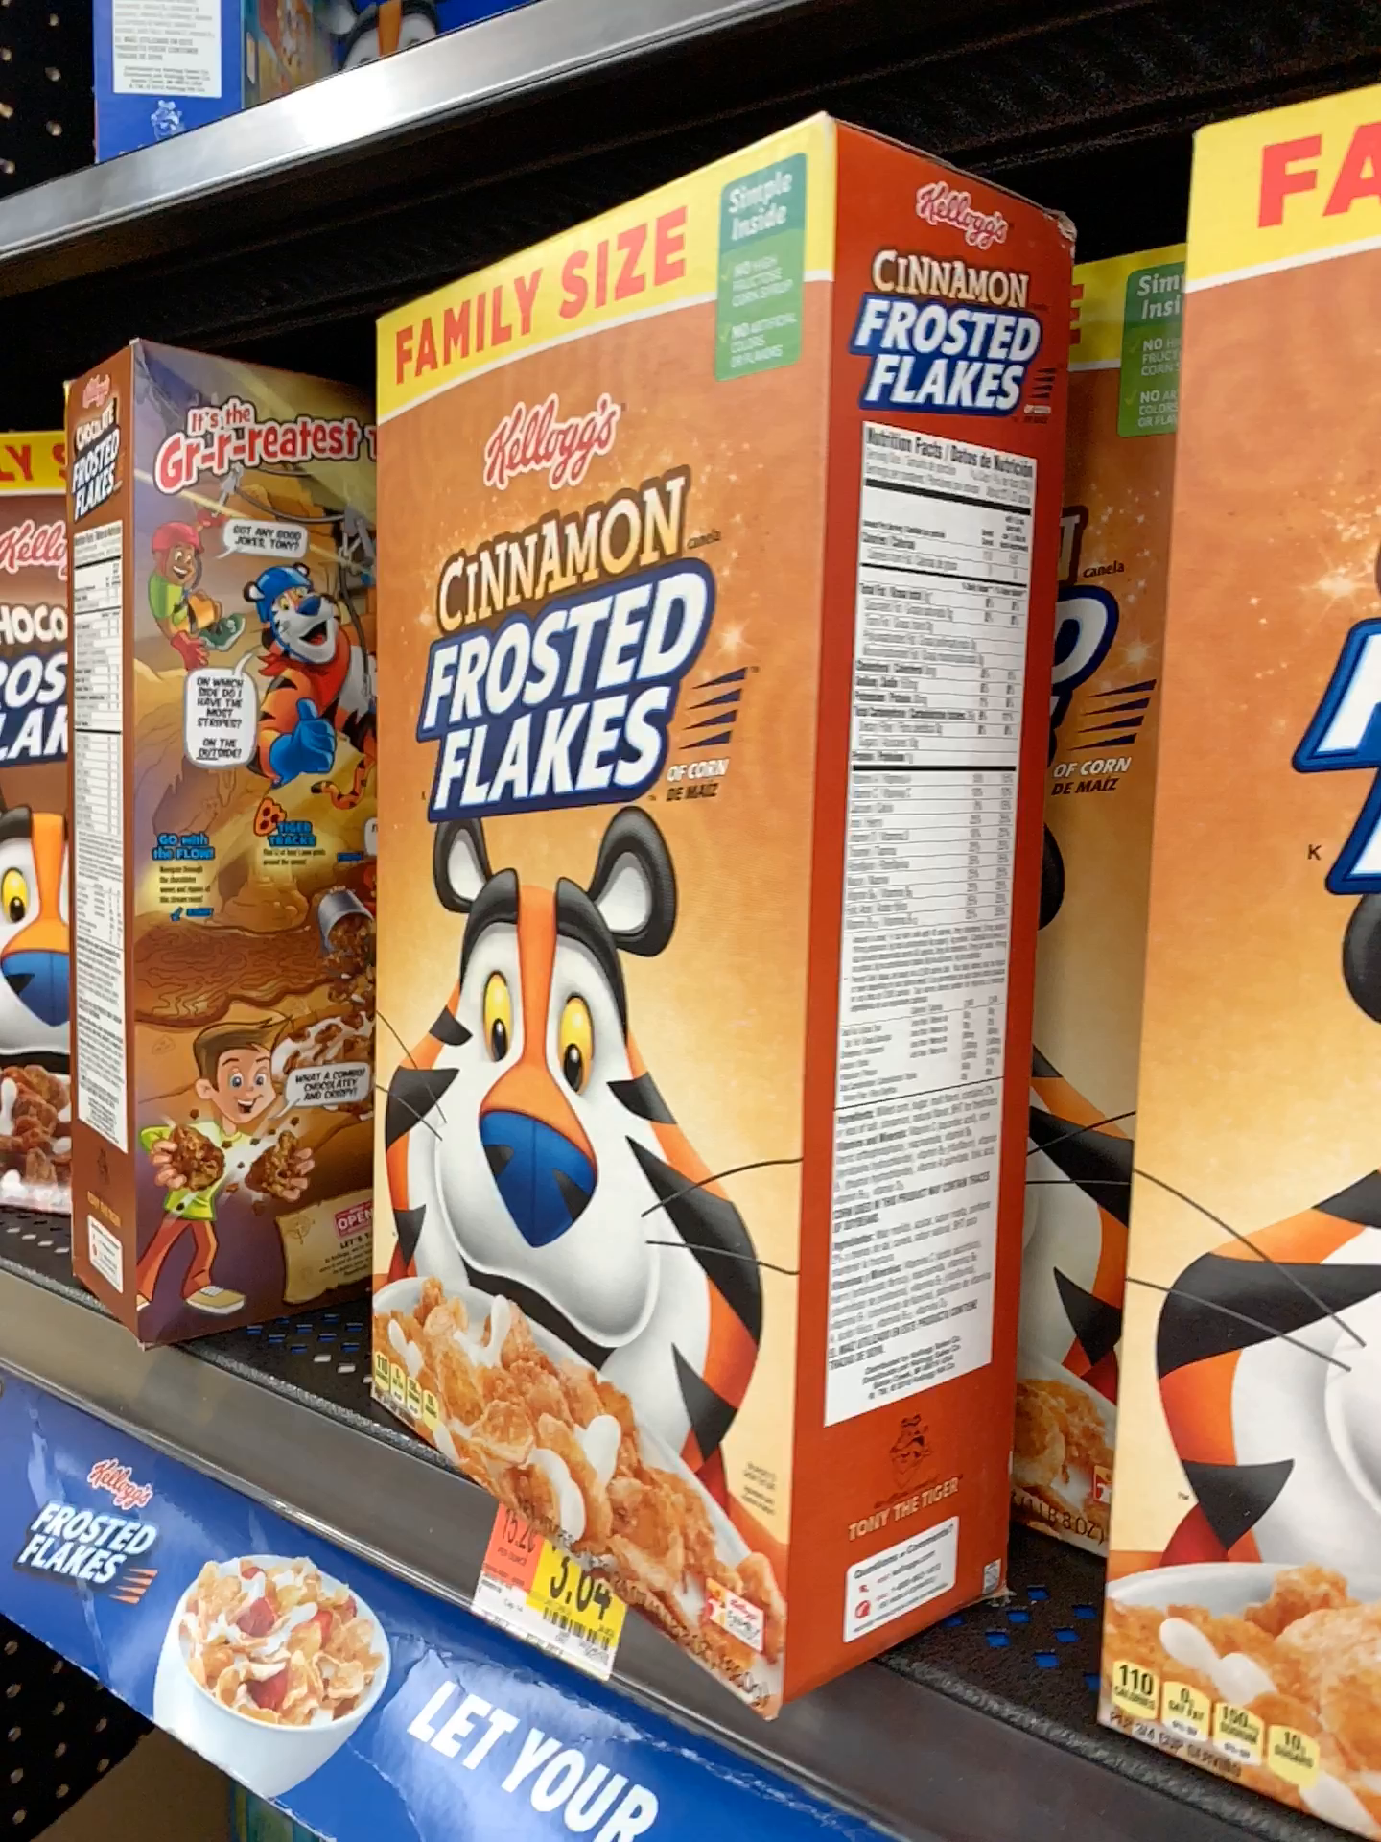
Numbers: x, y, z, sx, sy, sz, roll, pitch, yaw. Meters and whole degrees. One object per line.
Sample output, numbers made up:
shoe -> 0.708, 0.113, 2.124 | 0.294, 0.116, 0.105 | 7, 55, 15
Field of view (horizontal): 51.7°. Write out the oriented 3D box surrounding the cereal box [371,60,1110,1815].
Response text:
cereal box -> -0.004, 0.001, 0.379 | 0.080, 0.340, 0.200 | -2, 6, -37
